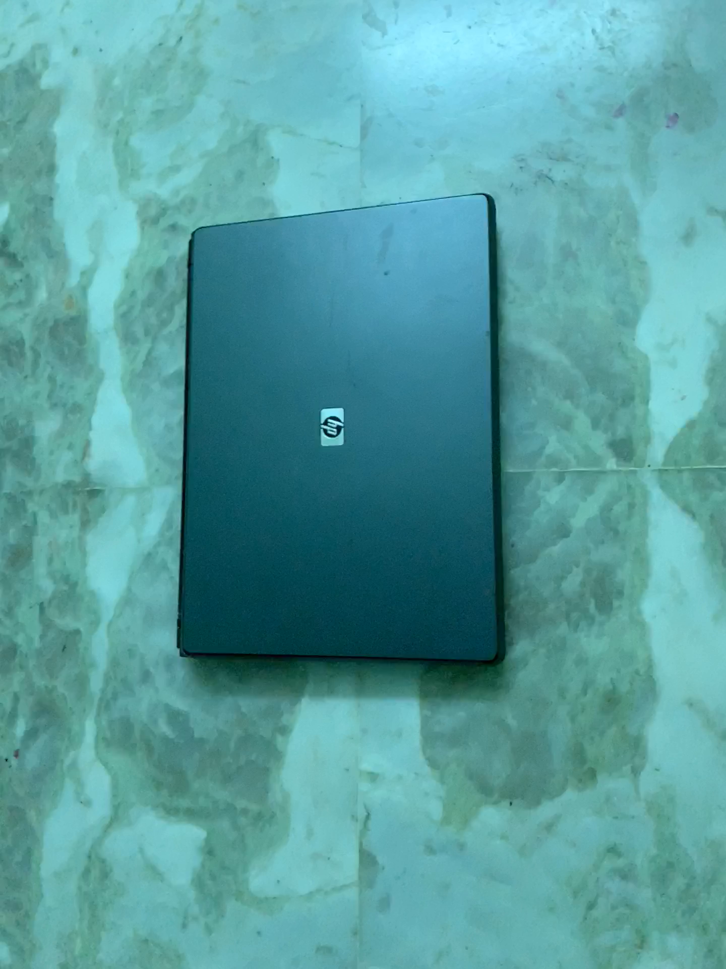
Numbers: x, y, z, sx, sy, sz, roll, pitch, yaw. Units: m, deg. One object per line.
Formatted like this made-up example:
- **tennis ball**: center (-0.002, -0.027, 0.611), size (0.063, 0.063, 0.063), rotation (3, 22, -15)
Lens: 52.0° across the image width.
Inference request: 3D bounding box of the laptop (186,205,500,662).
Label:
- **laptop**: center (-0.020, -0.037, 0.531), size (0.227, 0.001, 0.310), rotation (-2, 84, 16)
